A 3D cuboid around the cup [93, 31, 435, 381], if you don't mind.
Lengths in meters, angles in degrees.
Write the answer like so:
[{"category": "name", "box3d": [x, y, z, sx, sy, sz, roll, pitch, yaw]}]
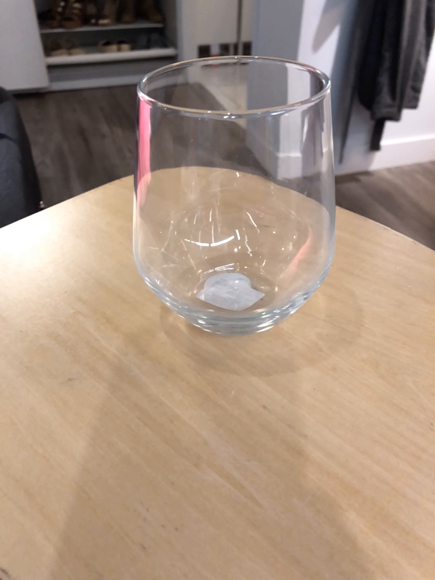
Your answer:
[{"category": "cup", "box3d": [0.010, -0.041, 0.204, 0.090, 0.100, 0.090, 1, 39, 0]}]
